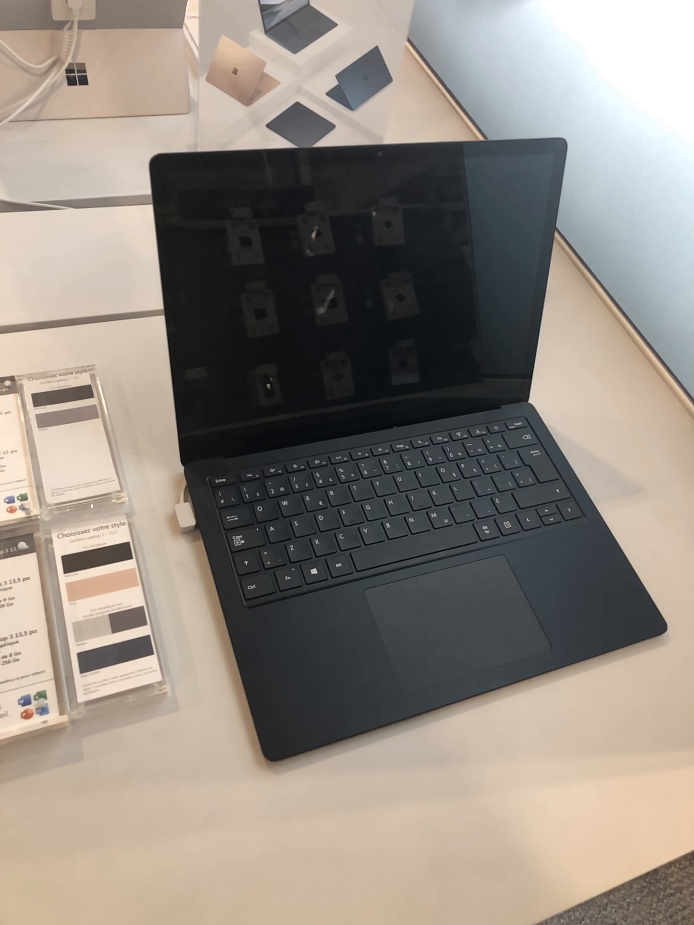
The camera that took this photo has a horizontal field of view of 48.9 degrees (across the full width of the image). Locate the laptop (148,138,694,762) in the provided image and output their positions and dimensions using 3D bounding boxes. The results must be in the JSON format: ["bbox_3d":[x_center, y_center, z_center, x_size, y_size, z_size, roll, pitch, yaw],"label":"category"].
[{"bbox_3d":[0.058,-0.033,0.511,0.309,0.197,0.314,-11,56,-20],"label":"laptop"}]
